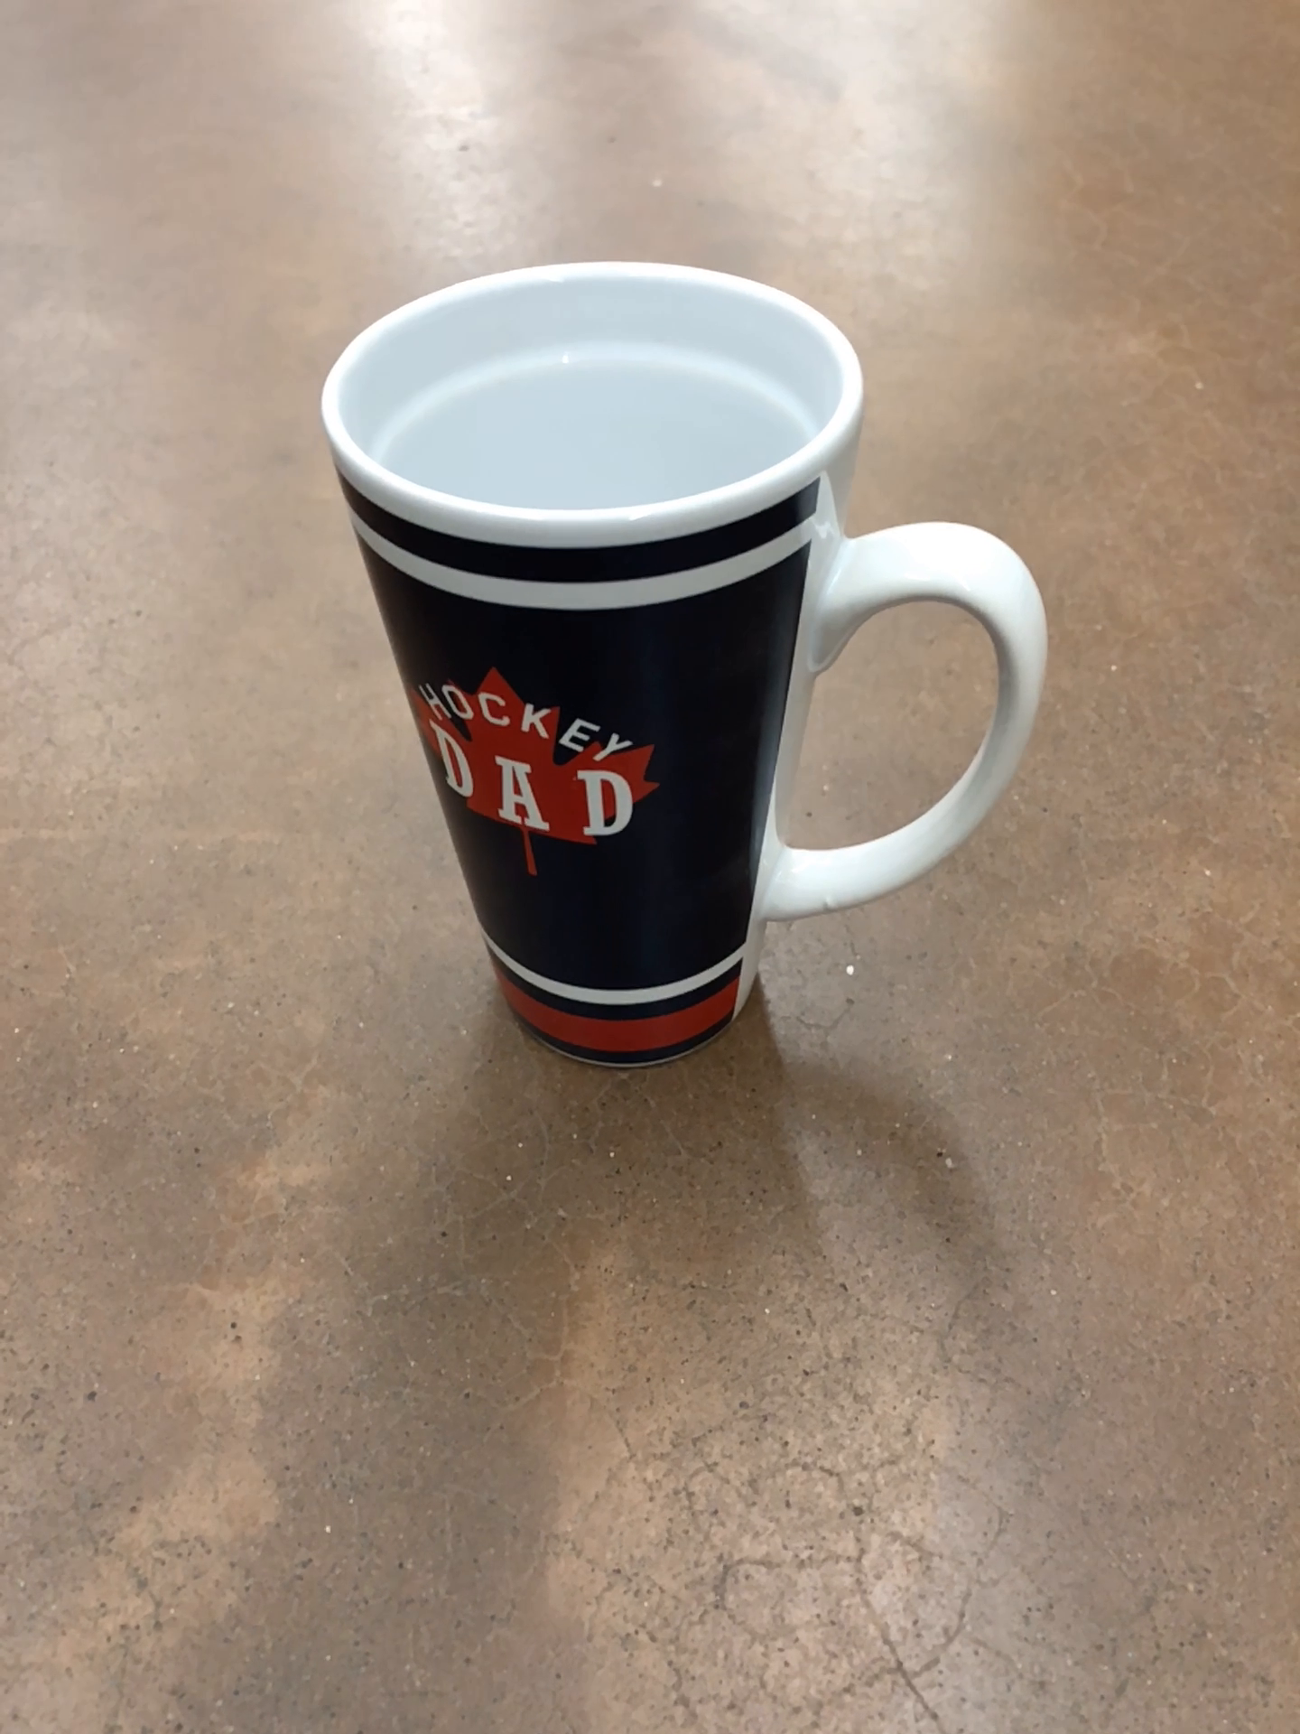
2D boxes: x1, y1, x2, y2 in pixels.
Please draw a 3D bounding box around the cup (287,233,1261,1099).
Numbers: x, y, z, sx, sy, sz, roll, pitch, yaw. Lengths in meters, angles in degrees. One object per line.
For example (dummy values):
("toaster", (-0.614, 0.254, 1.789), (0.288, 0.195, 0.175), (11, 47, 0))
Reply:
("cup", (0.020, -0.034, 0.272), (0.130, 0.130, 0.090), (1, 45, 4))
